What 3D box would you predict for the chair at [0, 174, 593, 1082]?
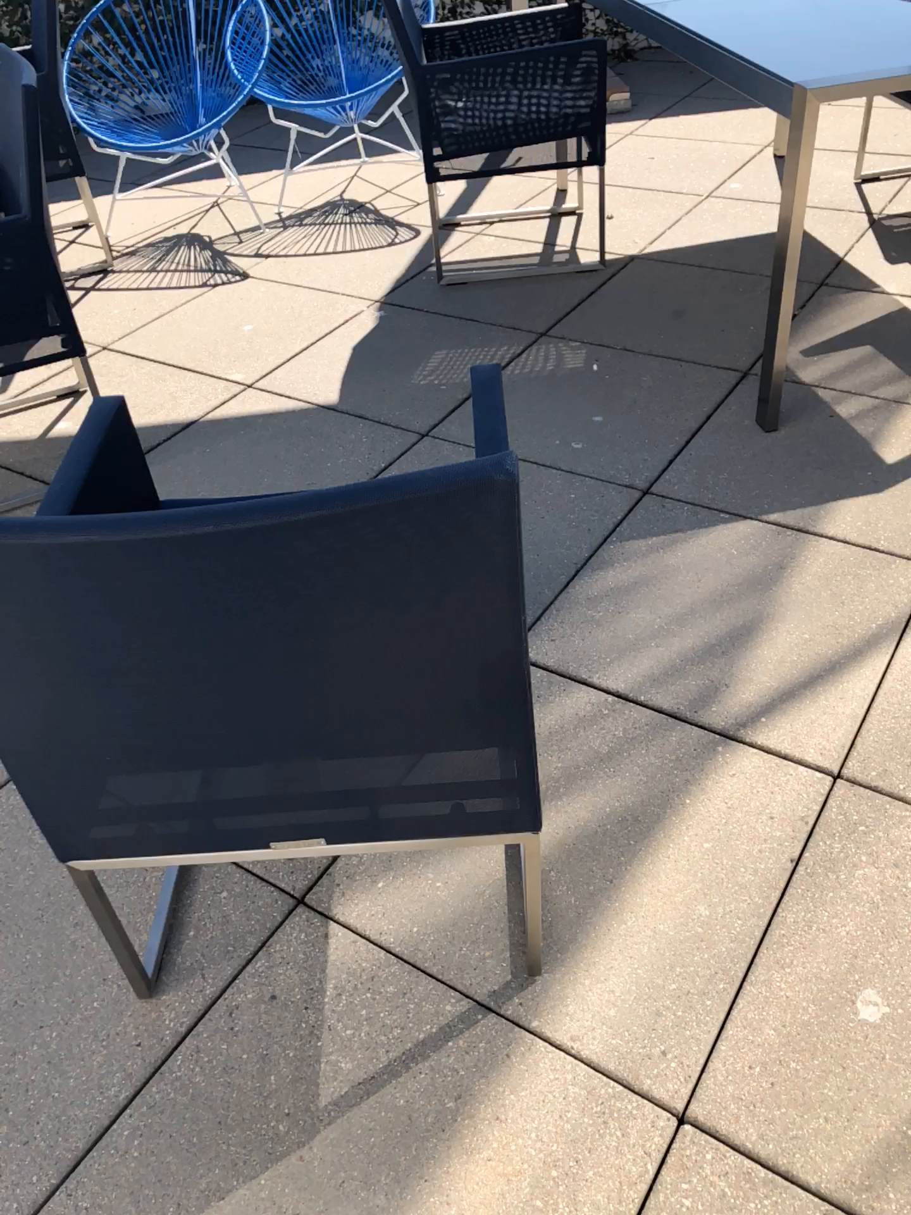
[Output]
[{"bbox_3d":[-0.205,0.023,1.188,0.650,0.776,0.673,-4,39,3],"label":"chair"}]
